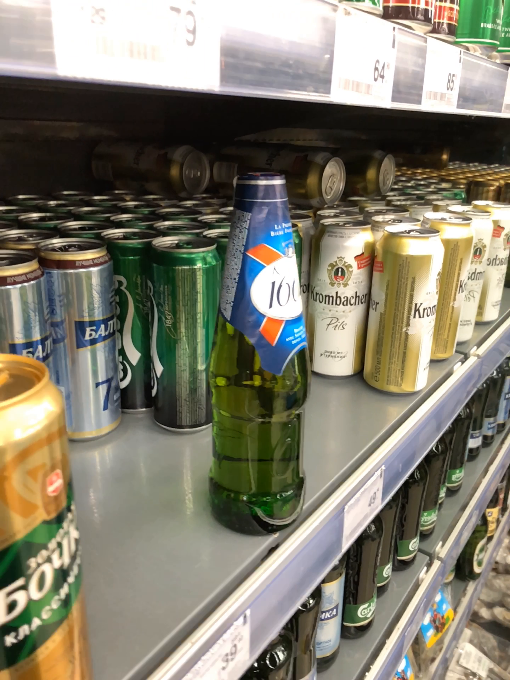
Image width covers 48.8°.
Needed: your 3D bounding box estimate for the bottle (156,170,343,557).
[{"bbox_3d":[-0.004,0.011,0.372,0.080,0.229,0.080,2,20,-1],"label":"bottle"}]
